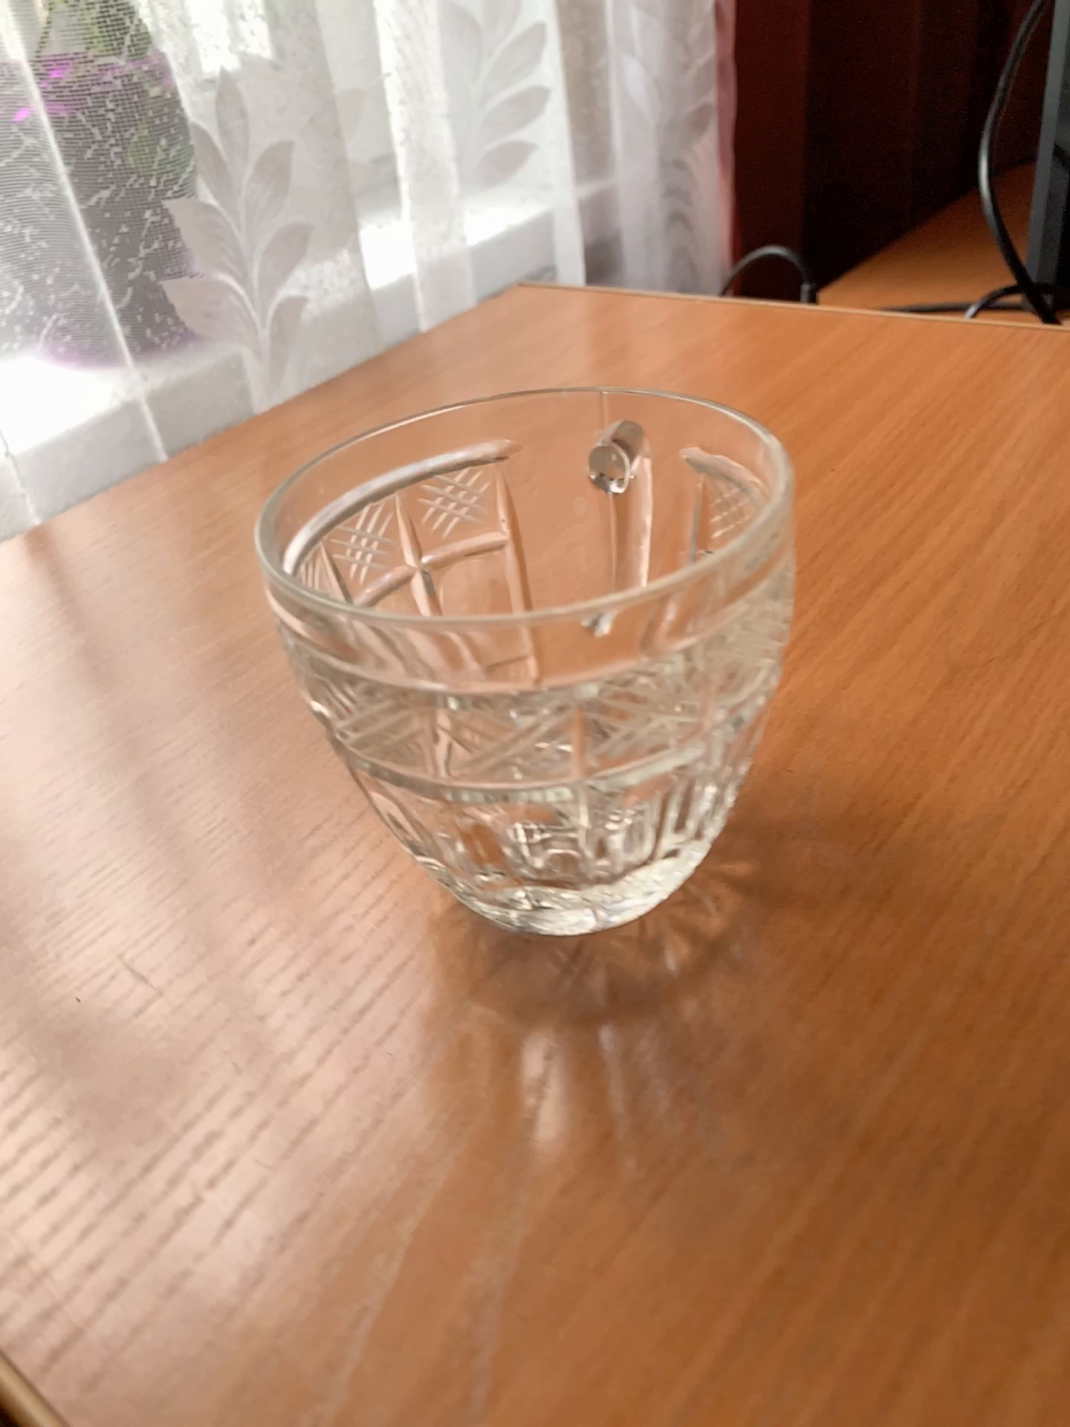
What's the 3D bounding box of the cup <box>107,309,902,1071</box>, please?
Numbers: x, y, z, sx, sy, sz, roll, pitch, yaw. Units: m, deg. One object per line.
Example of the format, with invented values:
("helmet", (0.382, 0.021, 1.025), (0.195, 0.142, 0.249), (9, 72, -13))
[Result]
("cup", (0.005, -0.014, 0.185), (0.082, 0.066, 0.101), (13, 42, 23))
